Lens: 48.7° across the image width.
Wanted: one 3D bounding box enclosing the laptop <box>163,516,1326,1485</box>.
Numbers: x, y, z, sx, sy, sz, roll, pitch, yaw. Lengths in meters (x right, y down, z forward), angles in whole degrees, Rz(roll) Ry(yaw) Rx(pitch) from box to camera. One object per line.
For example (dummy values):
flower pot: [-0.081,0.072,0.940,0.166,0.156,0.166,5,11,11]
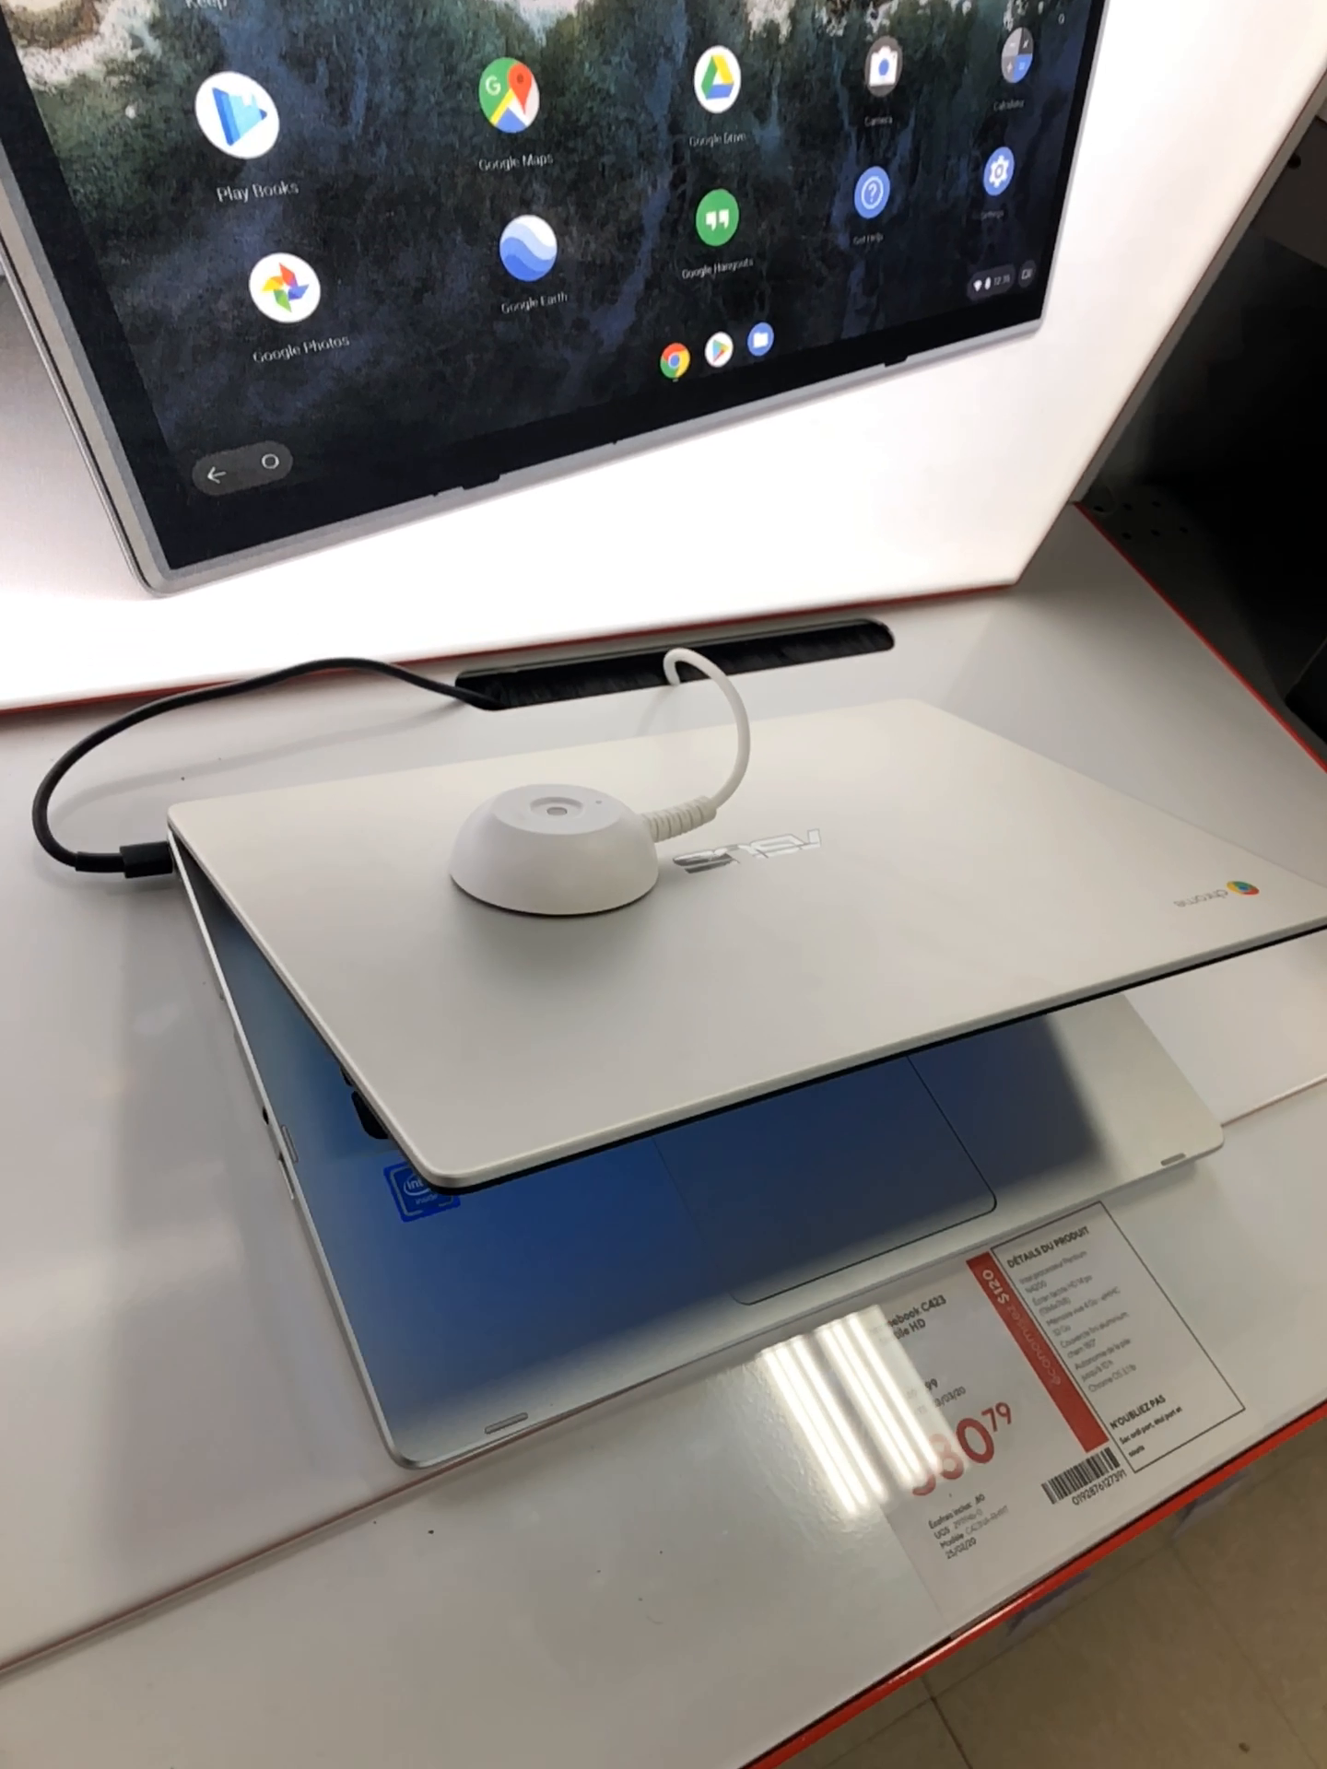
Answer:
laptop: [0.037,0.003,0.460,0.318,0.101,0.225,-12,55,-30]
